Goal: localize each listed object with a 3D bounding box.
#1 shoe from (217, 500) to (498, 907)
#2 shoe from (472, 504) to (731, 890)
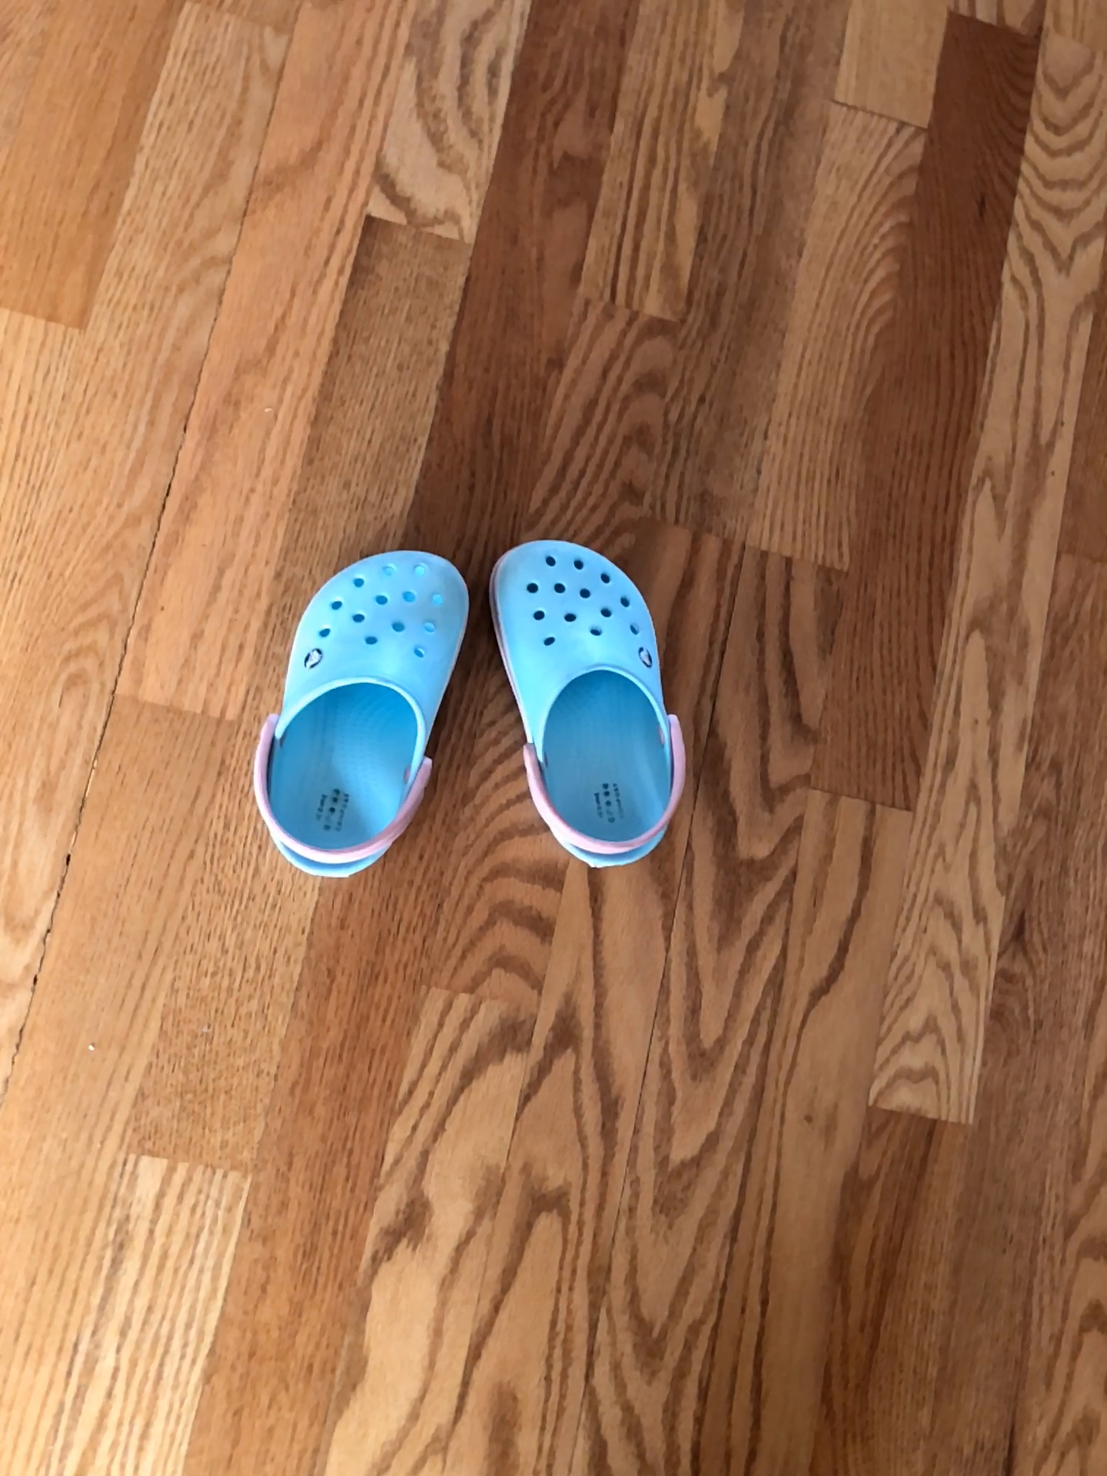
[{"bbox_3d":[-0.088,-0.013,0.560,0.083,0.057,0.165,14,80,-7],"label":"shoe"},{"bbox_3d":[0.020,-0.018,0.575,0.083,0.048,0.165,-10,84,-10],"label":"shoe"}]
